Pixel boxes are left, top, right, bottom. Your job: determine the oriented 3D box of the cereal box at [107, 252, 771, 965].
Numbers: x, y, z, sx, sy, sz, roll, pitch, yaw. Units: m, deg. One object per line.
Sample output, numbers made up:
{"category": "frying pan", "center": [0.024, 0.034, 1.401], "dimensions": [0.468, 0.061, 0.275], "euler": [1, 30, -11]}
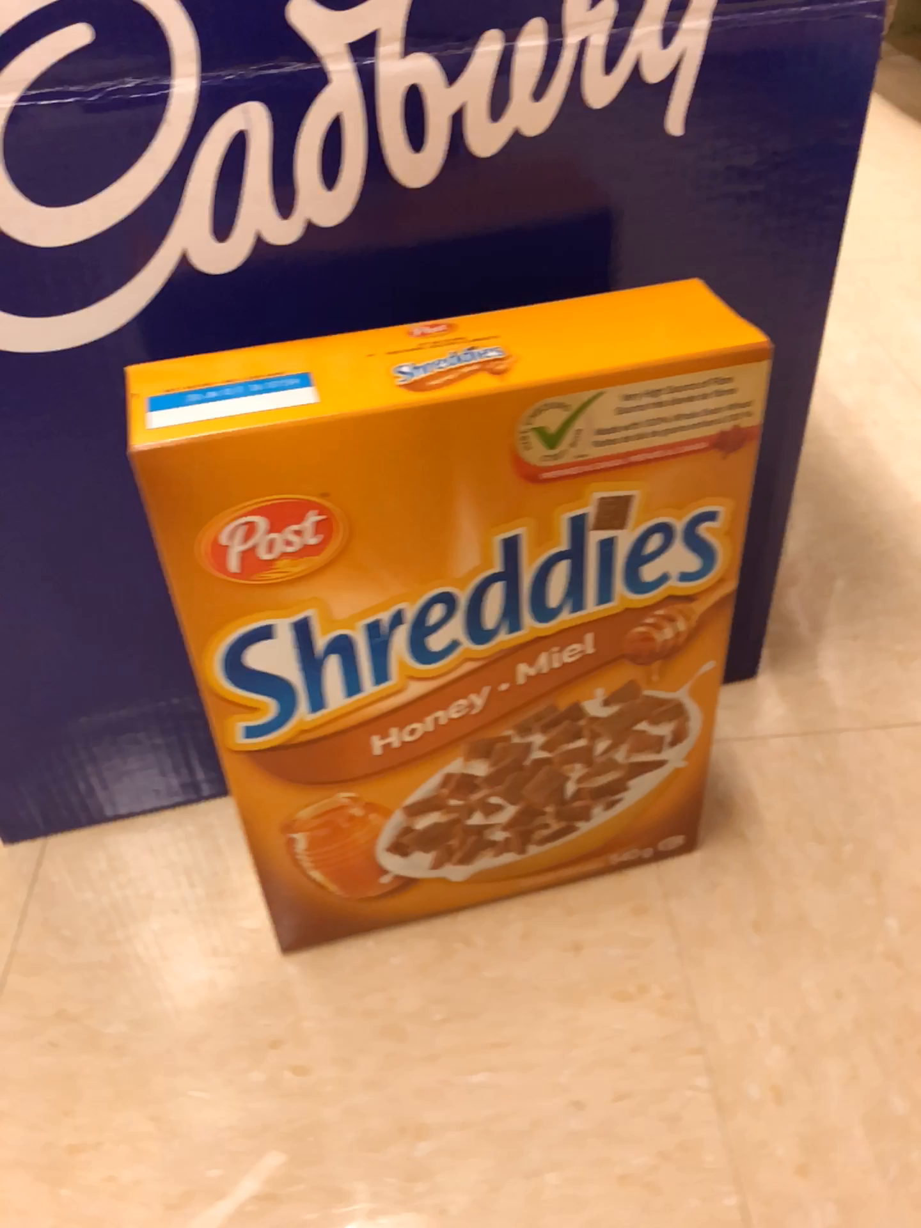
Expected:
{"category": "cereal box", "center": [-0.002, 0.014, 0.428], "dimensions": [0.210, 0.278, 0.070], "euler": [-12, 41, -9]}
